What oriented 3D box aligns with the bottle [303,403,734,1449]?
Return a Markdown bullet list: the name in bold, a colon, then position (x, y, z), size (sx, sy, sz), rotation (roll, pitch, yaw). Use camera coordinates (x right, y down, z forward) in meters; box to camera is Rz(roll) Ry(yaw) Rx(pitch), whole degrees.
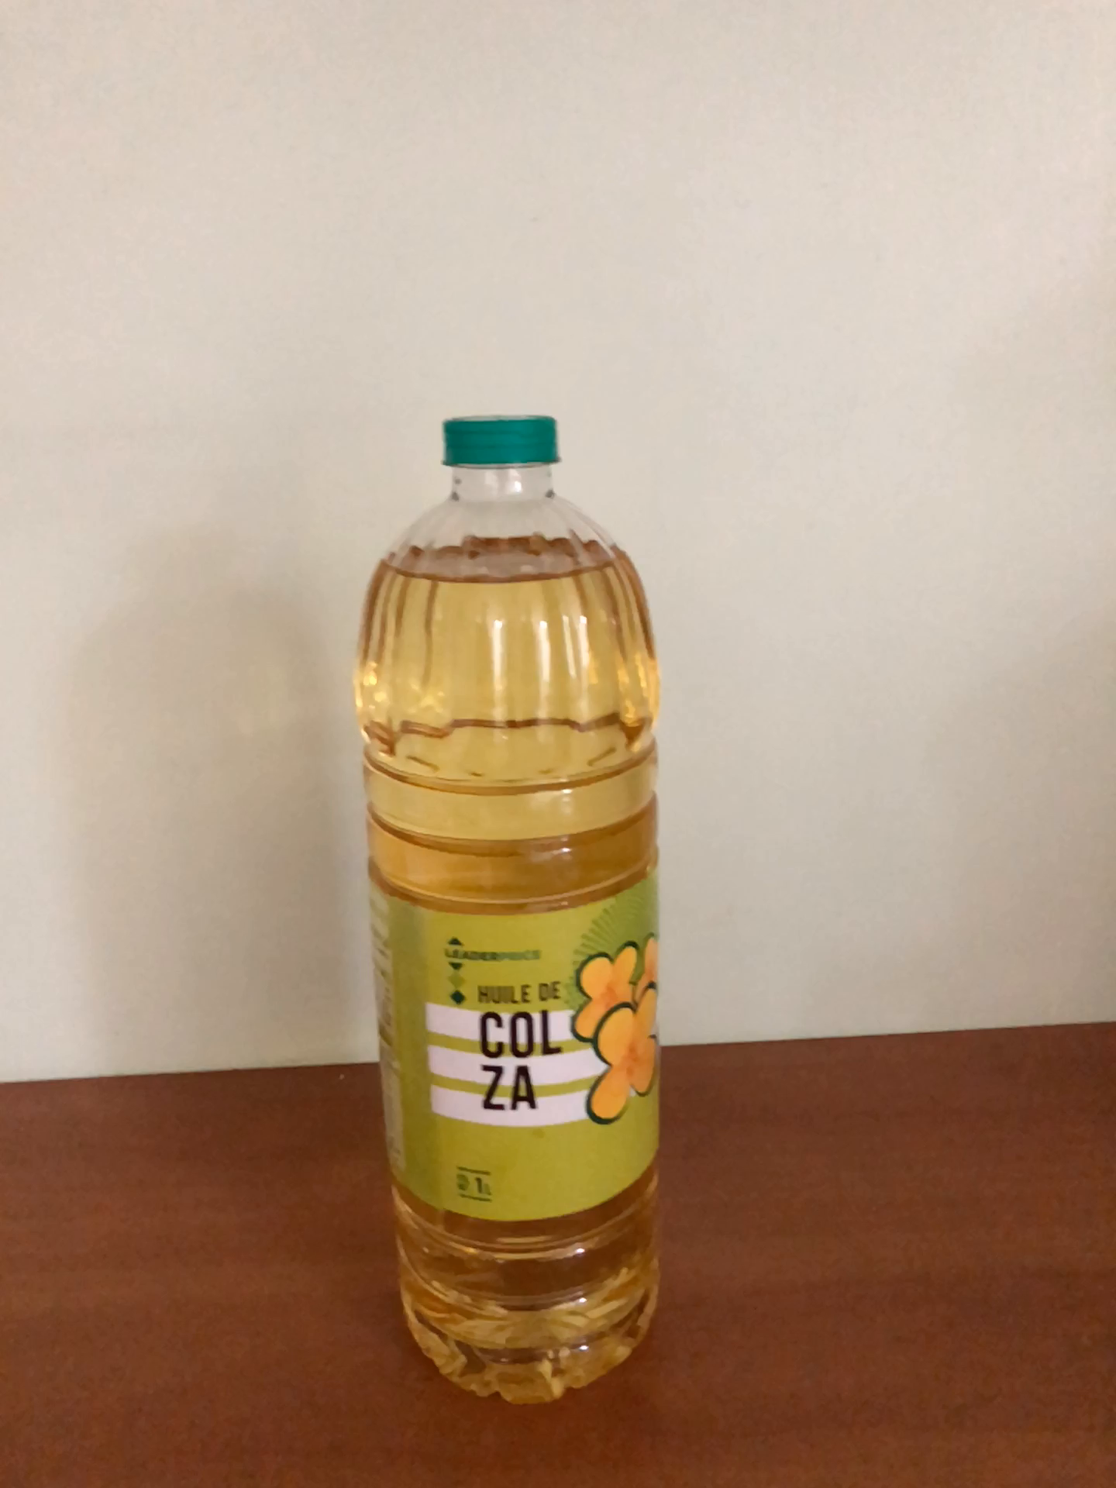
- **bottle**: position (-0.012, 0.047, 0.349), size (0.090, 0.269, 0.090), rotation (-1, 18, 0)
